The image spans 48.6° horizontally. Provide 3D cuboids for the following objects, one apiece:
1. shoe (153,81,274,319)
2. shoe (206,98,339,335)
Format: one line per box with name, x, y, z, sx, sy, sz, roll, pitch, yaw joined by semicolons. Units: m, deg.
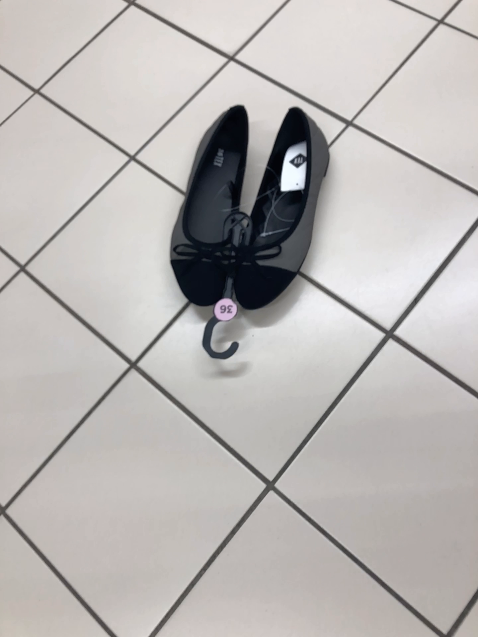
shoe;-0.028;-0.133;0.596;0.078;0.081;0.243;14;71;-10
shoe;0.044;-0.112;0.579;0.078;0.081;0.243;4;69;26
